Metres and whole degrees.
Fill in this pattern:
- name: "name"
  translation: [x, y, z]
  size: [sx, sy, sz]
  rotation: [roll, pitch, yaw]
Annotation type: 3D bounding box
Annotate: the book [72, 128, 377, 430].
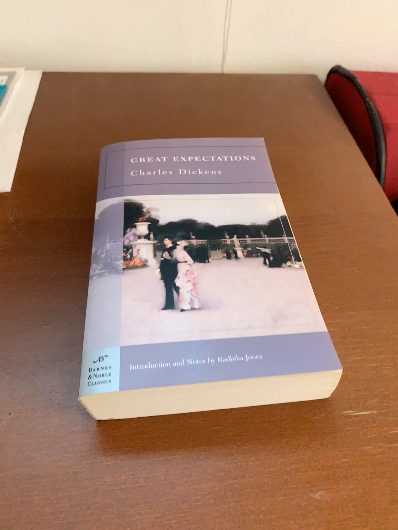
- name: "book"
  translation: [0.002, -0.011, 0.265]
  size: [0.140, 0.040, 0.202]
  rotation: [-3, 52, -7]
